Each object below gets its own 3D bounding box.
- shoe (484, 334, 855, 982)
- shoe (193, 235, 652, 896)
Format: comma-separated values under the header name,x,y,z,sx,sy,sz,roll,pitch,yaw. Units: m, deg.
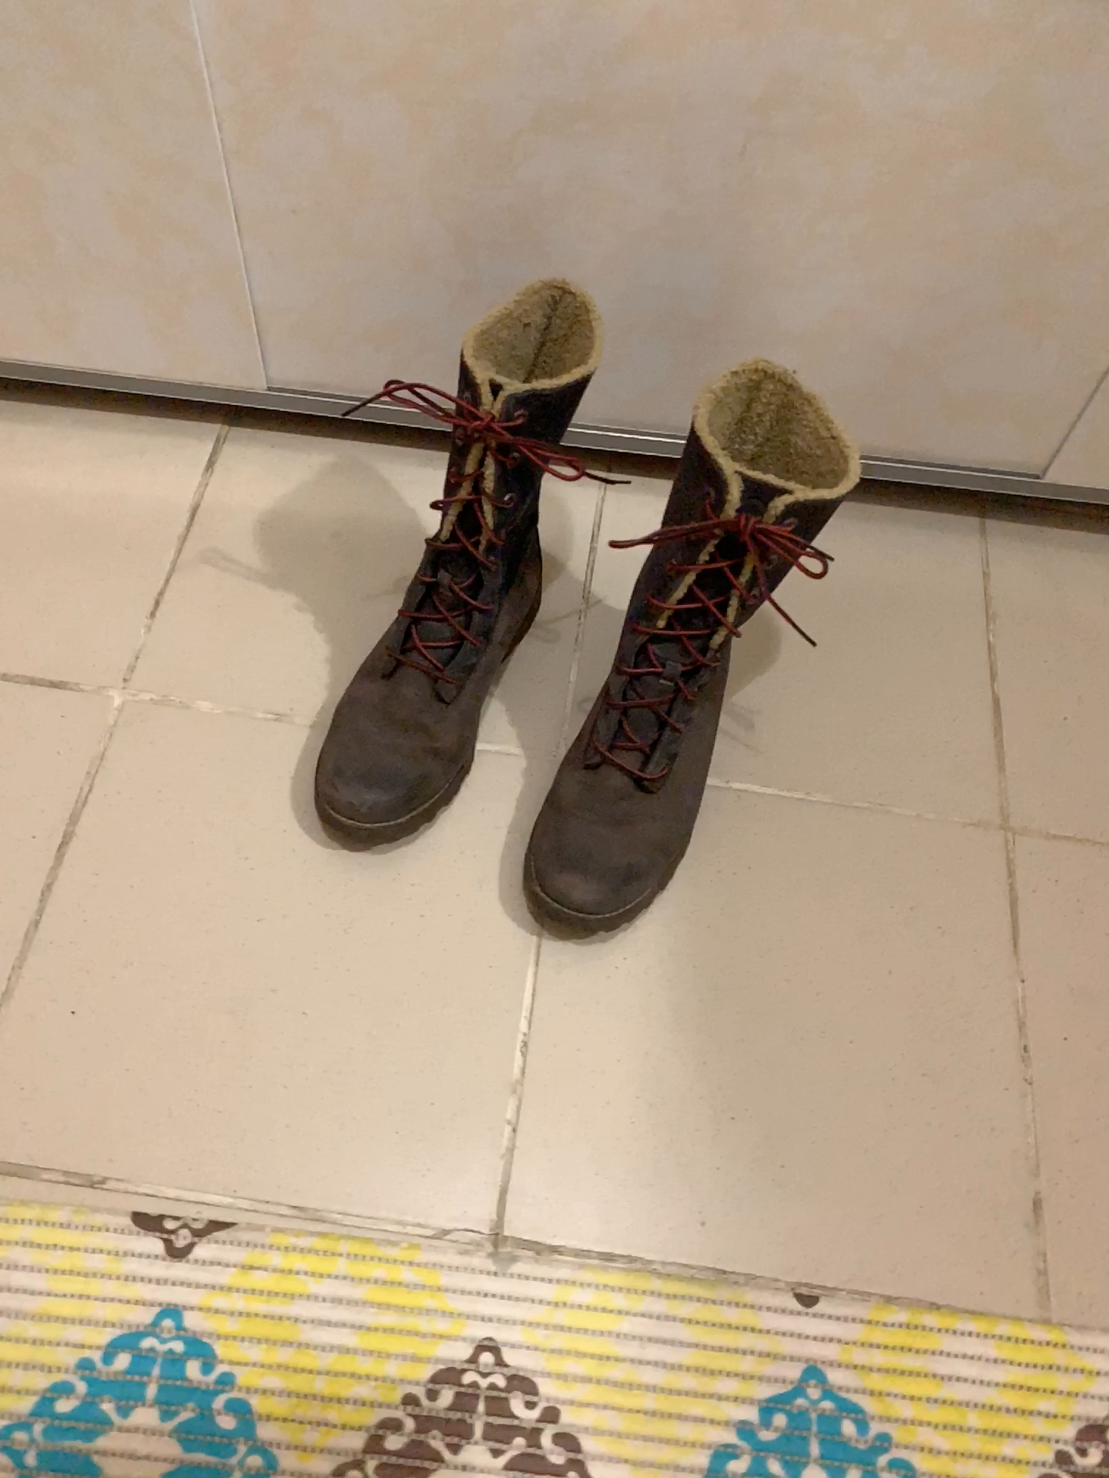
name,x,y,z,sx,sy,sz,roll,pitch,yaw
shoe,0.067,-0.037,0.673,0.100,0.249,0.281,19,63,10
shoe,-0.068,-0.091,0.662,0.100,0.249,0.281,26,61,6
